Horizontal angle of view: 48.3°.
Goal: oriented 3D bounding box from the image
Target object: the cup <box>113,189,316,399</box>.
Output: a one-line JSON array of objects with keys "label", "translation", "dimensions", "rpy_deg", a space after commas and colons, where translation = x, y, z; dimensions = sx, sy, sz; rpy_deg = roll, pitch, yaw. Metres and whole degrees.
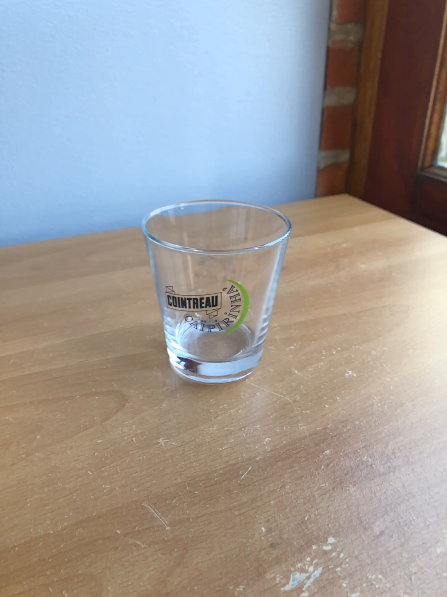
[{"label": "cup", "translation": [0.000, -0.008, 0.263], "dimensions": [0.079, 0.073, 0.076], "rpy_deg": [0, 28, 0]}]
